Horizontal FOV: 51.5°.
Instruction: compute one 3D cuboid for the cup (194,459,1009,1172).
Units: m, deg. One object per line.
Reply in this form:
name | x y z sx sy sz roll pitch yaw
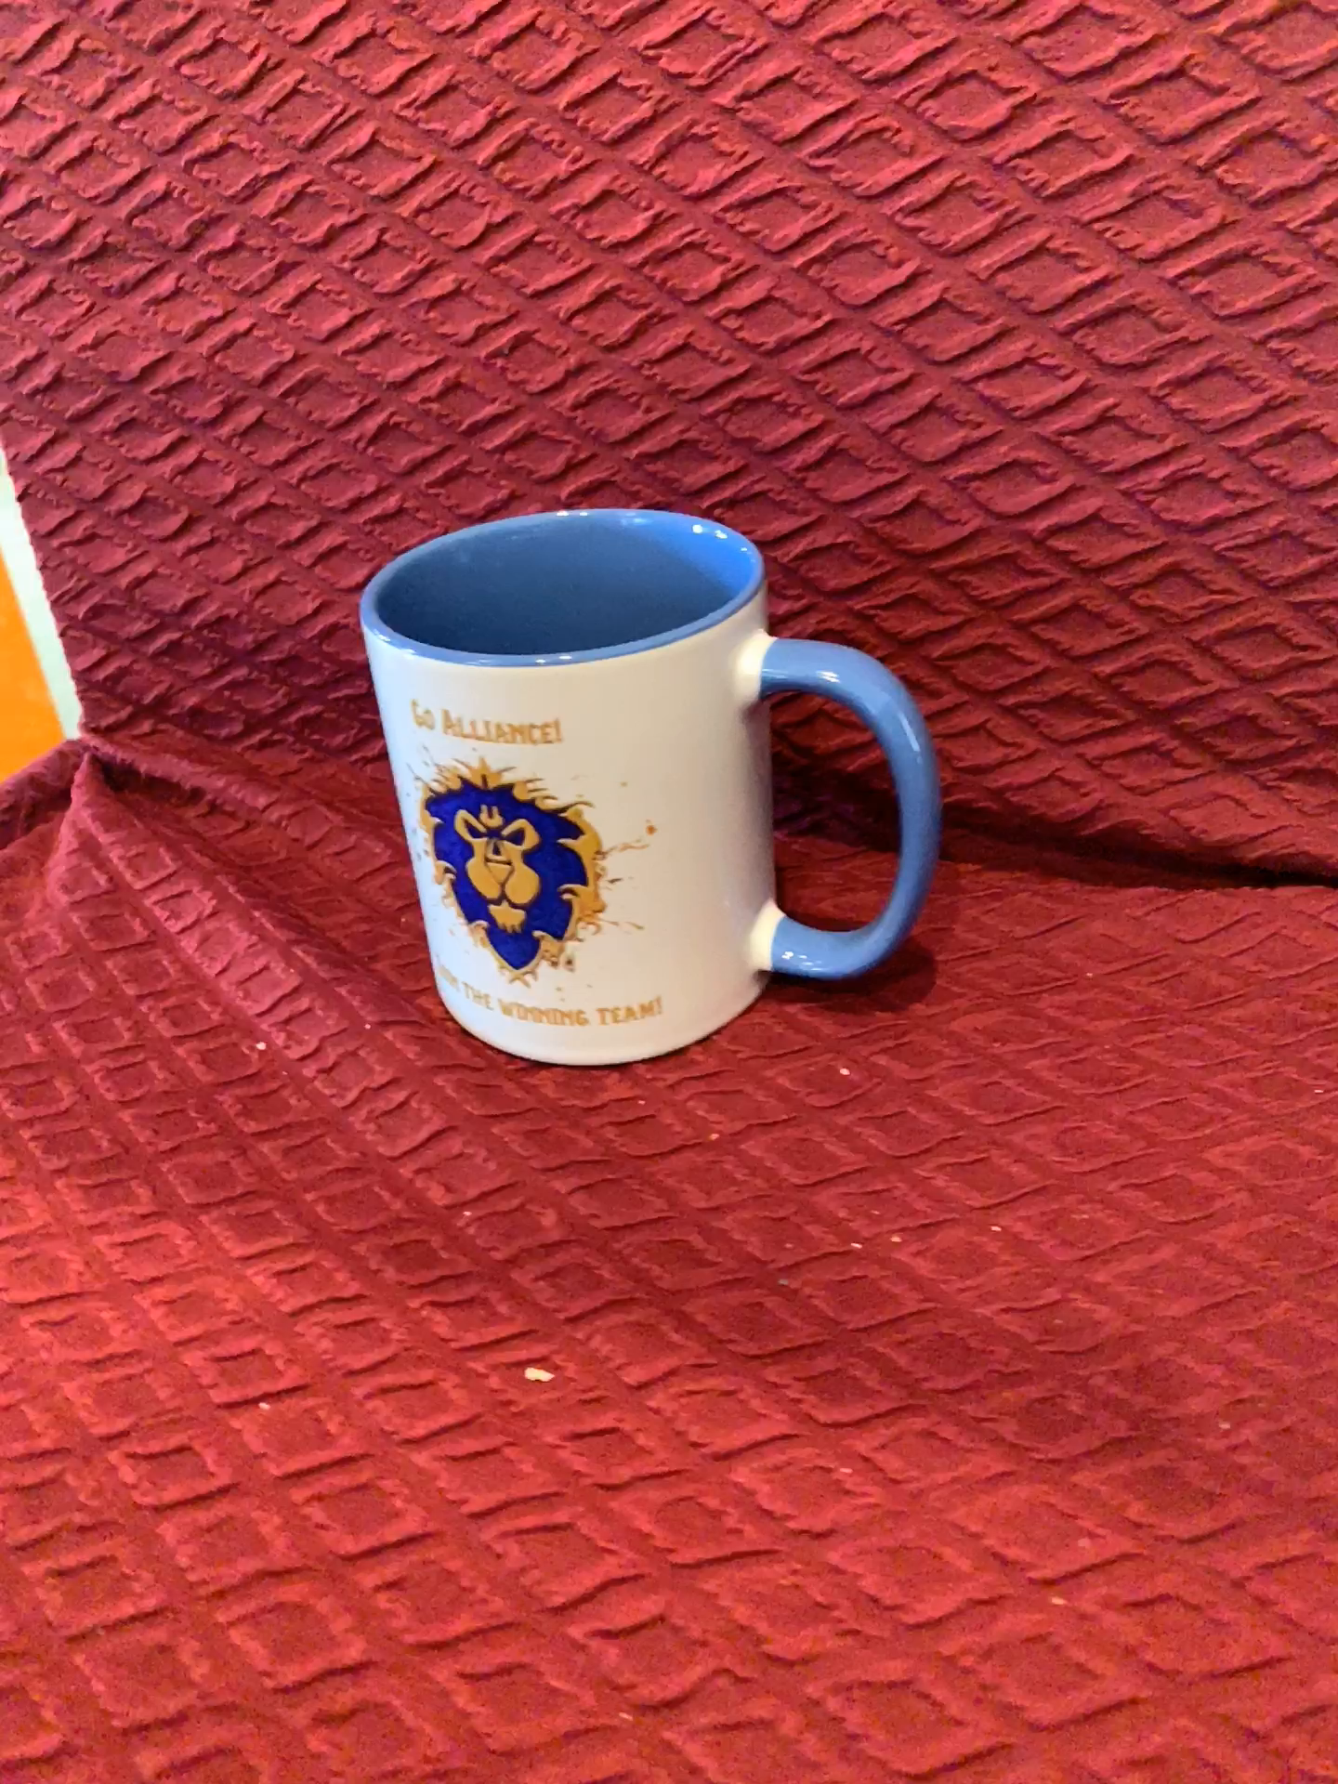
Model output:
cup | -0.005 -0.025 0.299 0.130 0.099 0.100 10 37 21
